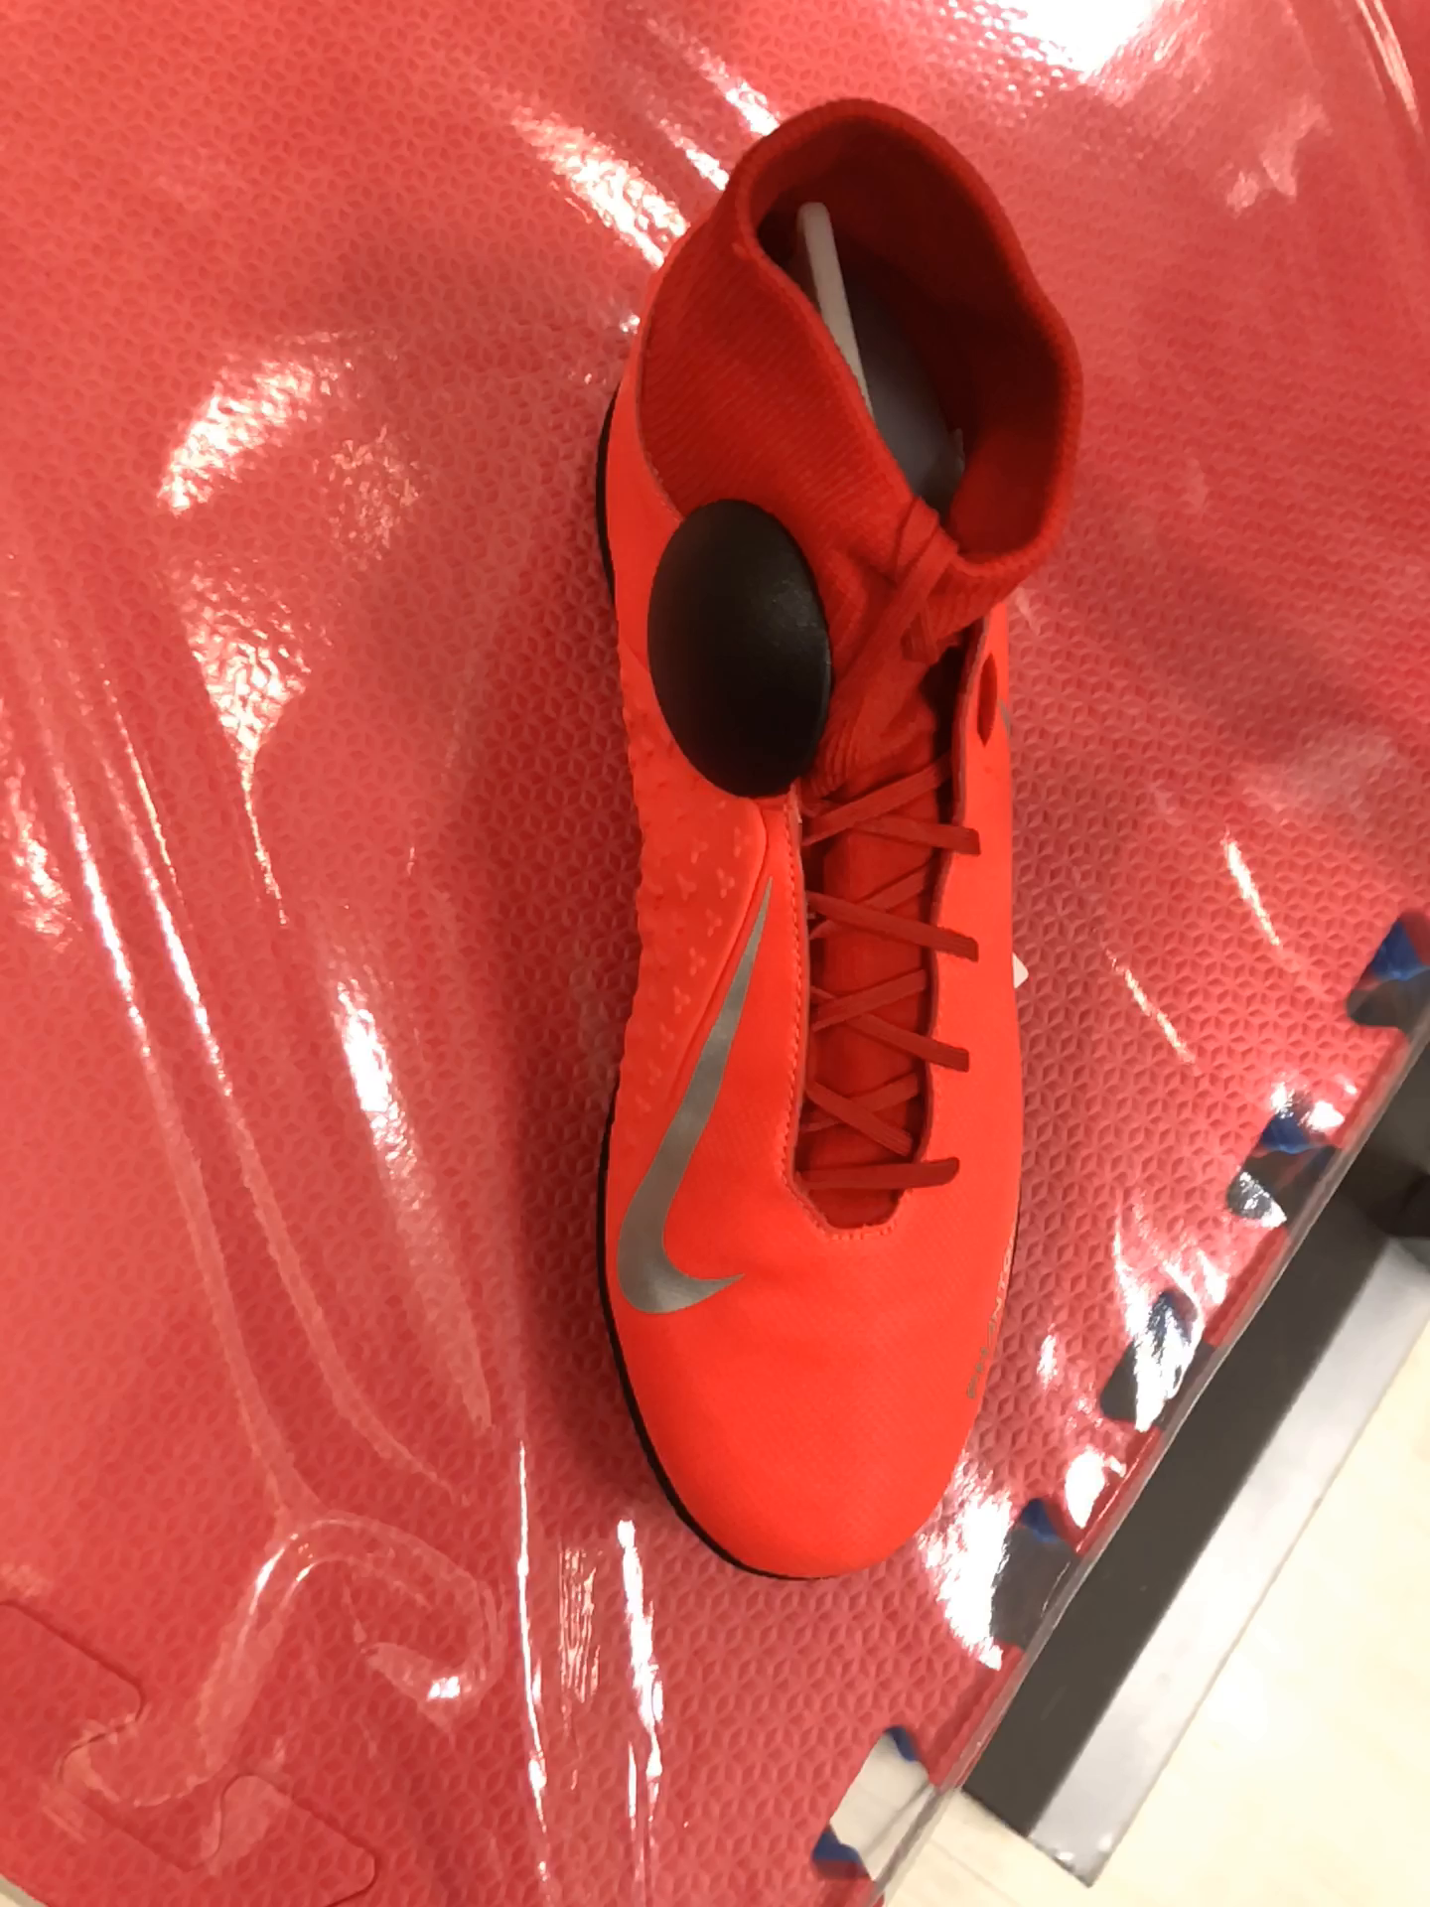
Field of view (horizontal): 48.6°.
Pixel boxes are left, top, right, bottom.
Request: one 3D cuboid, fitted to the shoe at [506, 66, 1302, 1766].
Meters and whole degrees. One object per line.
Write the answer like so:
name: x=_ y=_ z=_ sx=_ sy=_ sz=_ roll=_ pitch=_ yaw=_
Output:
shoe: x=0.018 y=-0.008 z=0.296 sx=0.090 sy=0.120 sz=0.250 roll=-3 pitch=81 yaw=-12
